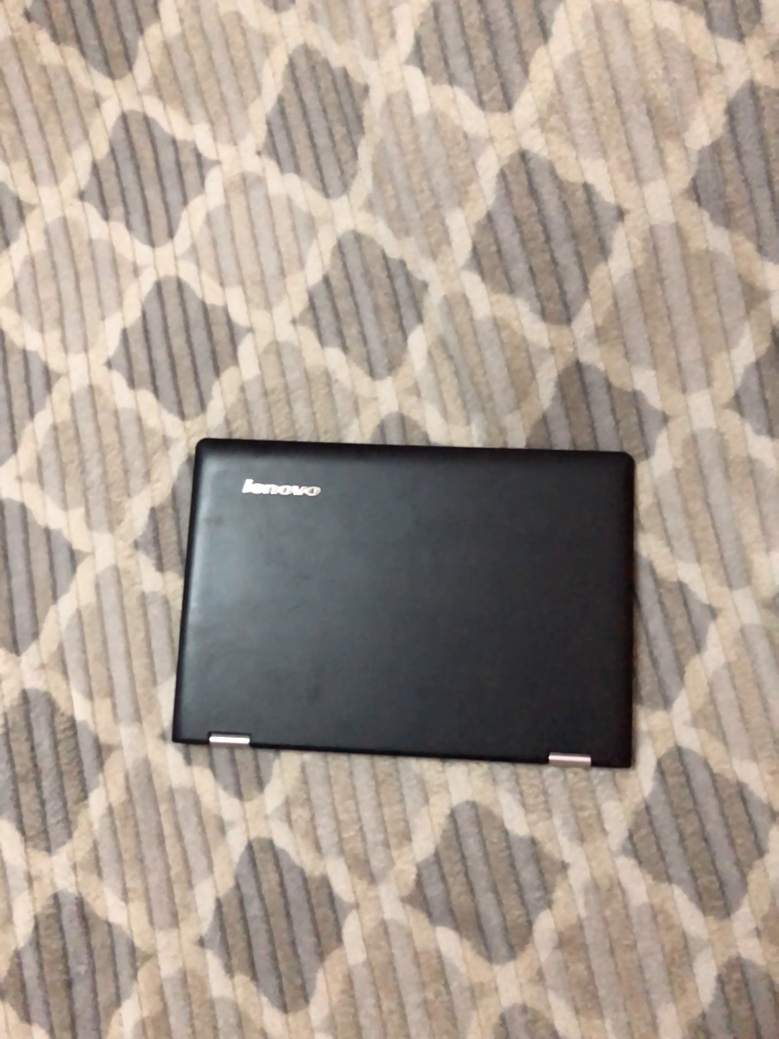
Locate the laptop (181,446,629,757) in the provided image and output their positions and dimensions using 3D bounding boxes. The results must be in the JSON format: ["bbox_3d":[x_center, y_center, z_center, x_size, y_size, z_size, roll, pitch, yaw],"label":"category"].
[{"bbox_3d":[0.014,0.061,0.675,0.339,0.005,0.230,2,83,3],"label":"laptop"}]
